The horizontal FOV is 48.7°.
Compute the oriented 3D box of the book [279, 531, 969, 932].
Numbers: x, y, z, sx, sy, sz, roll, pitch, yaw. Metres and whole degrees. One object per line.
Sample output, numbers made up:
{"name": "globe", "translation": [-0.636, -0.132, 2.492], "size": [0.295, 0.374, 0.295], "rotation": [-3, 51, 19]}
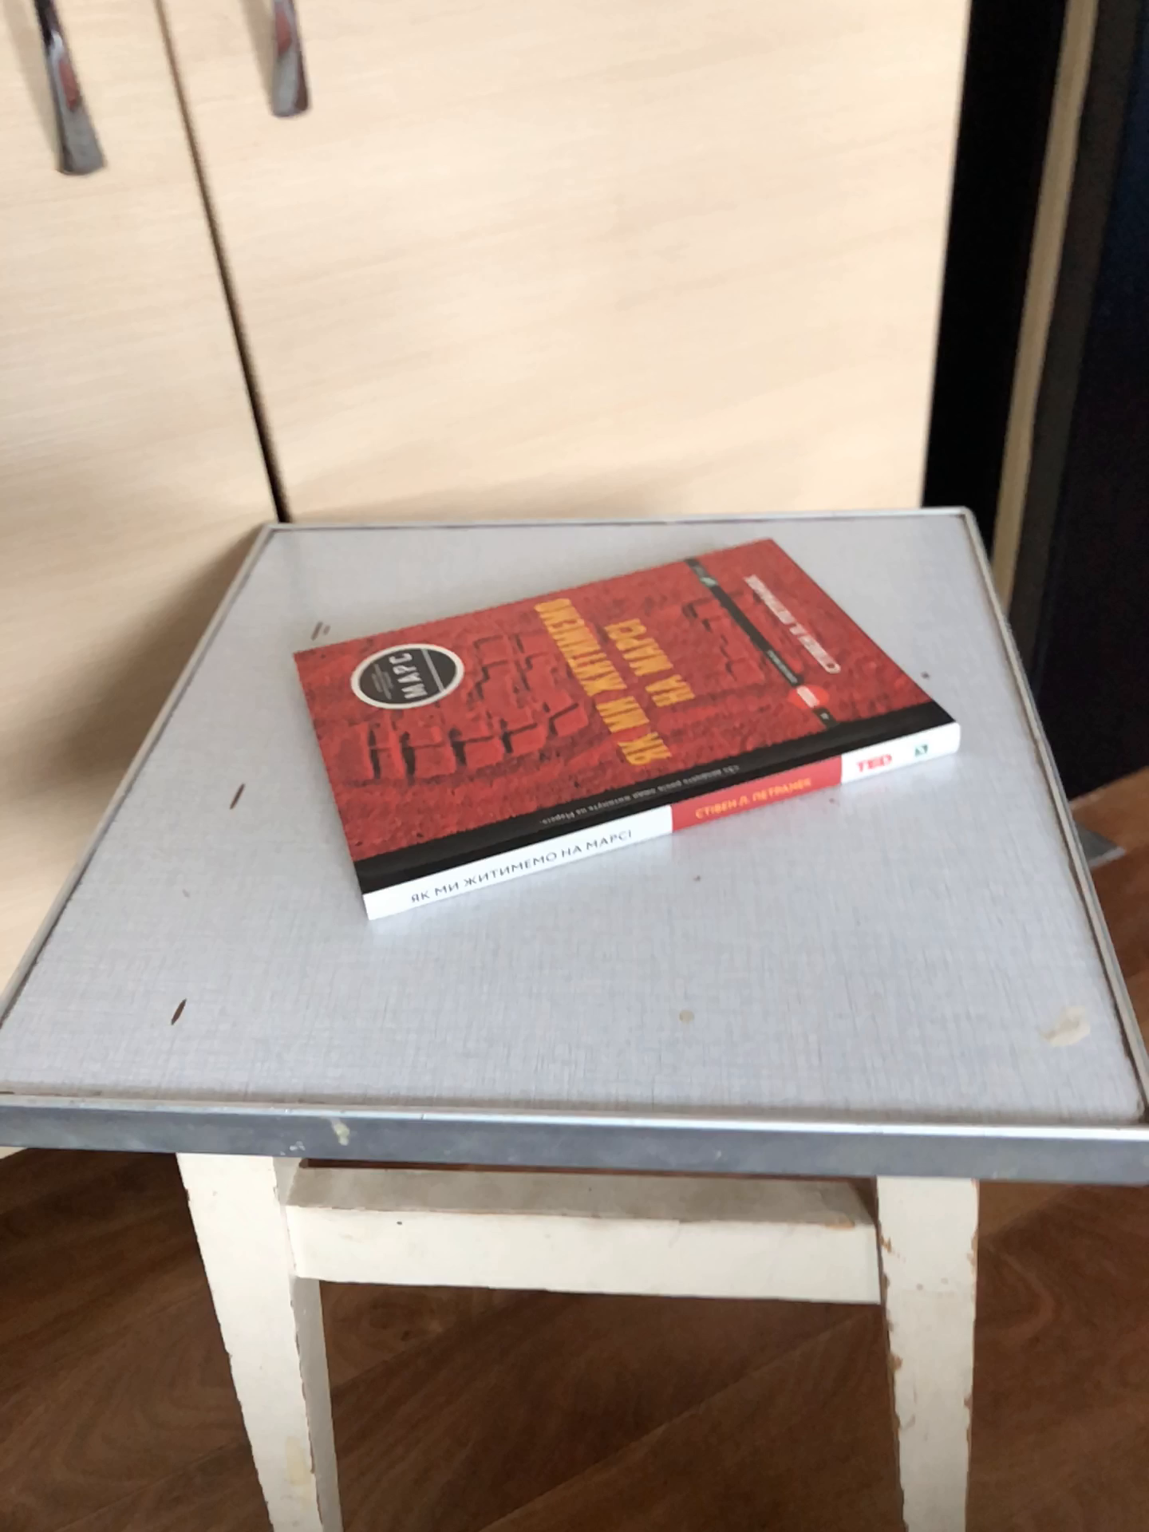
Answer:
{"name": "book", "translation": [0.010, -0.024, 0.465], "size": [0.213, 0.015, 0.147], "rotation": [-15, 40, -12]}
